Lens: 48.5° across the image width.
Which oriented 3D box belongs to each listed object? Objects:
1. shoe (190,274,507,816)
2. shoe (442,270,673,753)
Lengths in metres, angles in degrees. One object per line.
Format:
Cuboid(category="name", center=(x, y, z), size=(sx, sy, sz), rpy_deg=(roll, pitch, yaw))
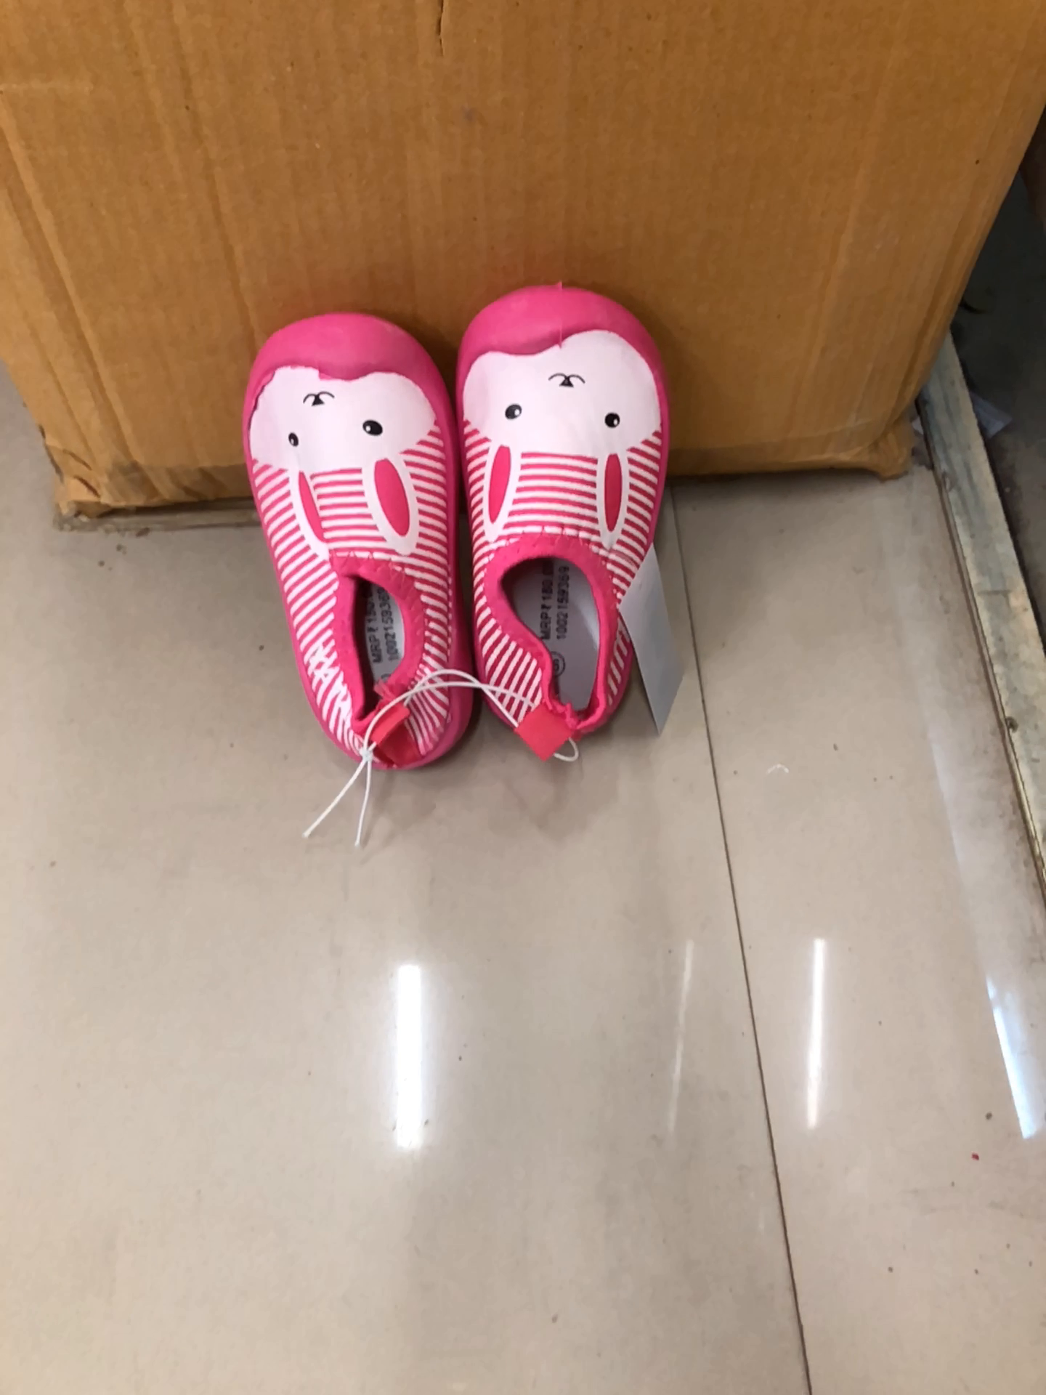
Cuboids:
Cuboid(category="shoe", center=(-0.055, -0.051, 0.396), size=(0.069, 0.082, 0.156), rpy_deg=(-10, 100, -3))
Cuboid(category="shoe", center=(0.015, -0.063, 0.402), size=(0.069, 0.082, 0.148), rpy_deg=(0, 101, 5))
